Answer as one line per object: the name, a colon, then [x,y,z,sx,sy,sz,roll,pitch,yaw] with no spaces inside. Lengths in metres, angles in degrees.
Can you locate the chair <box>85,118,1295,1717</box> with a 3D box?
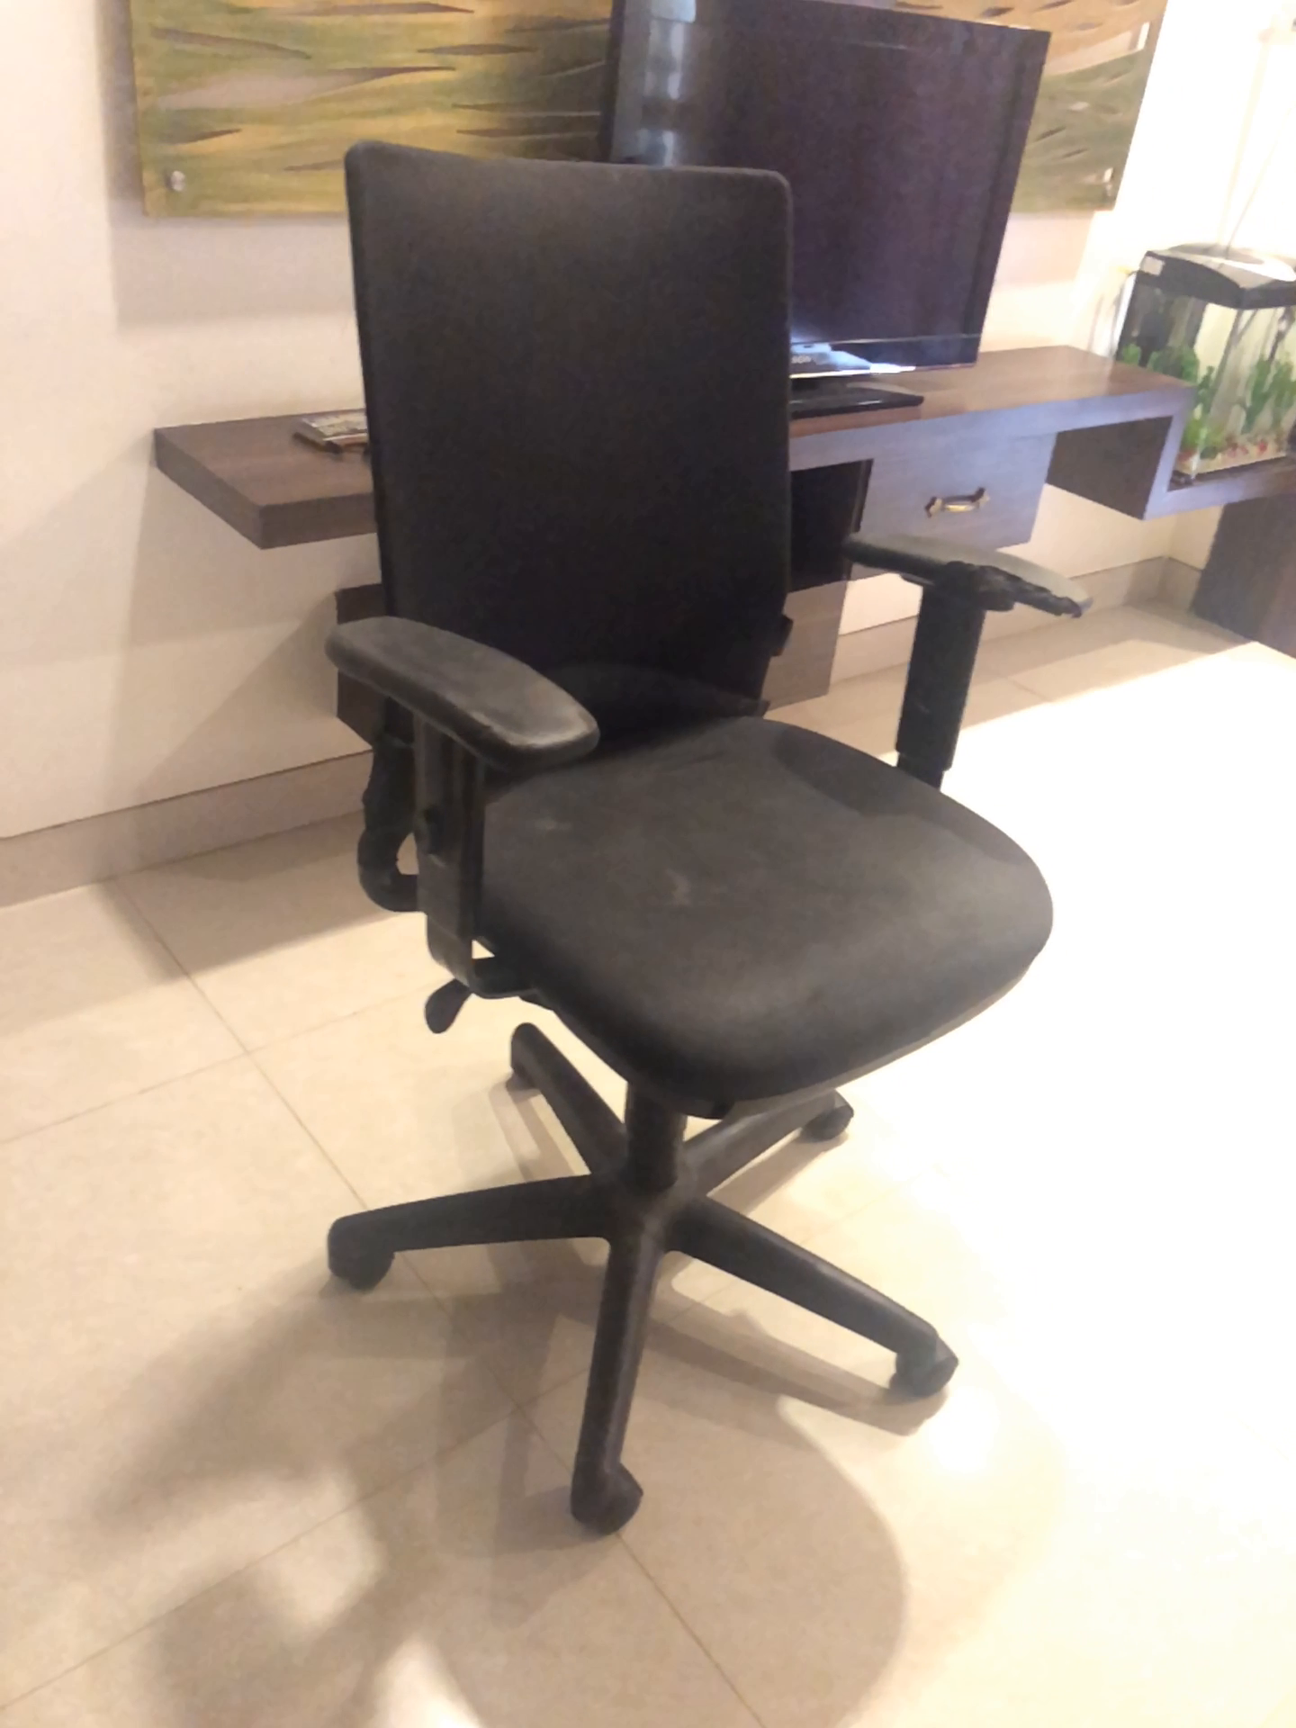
chair: [0.045,-0.027,1.276,0.712,1.042,0.703,-21,42,-37]
